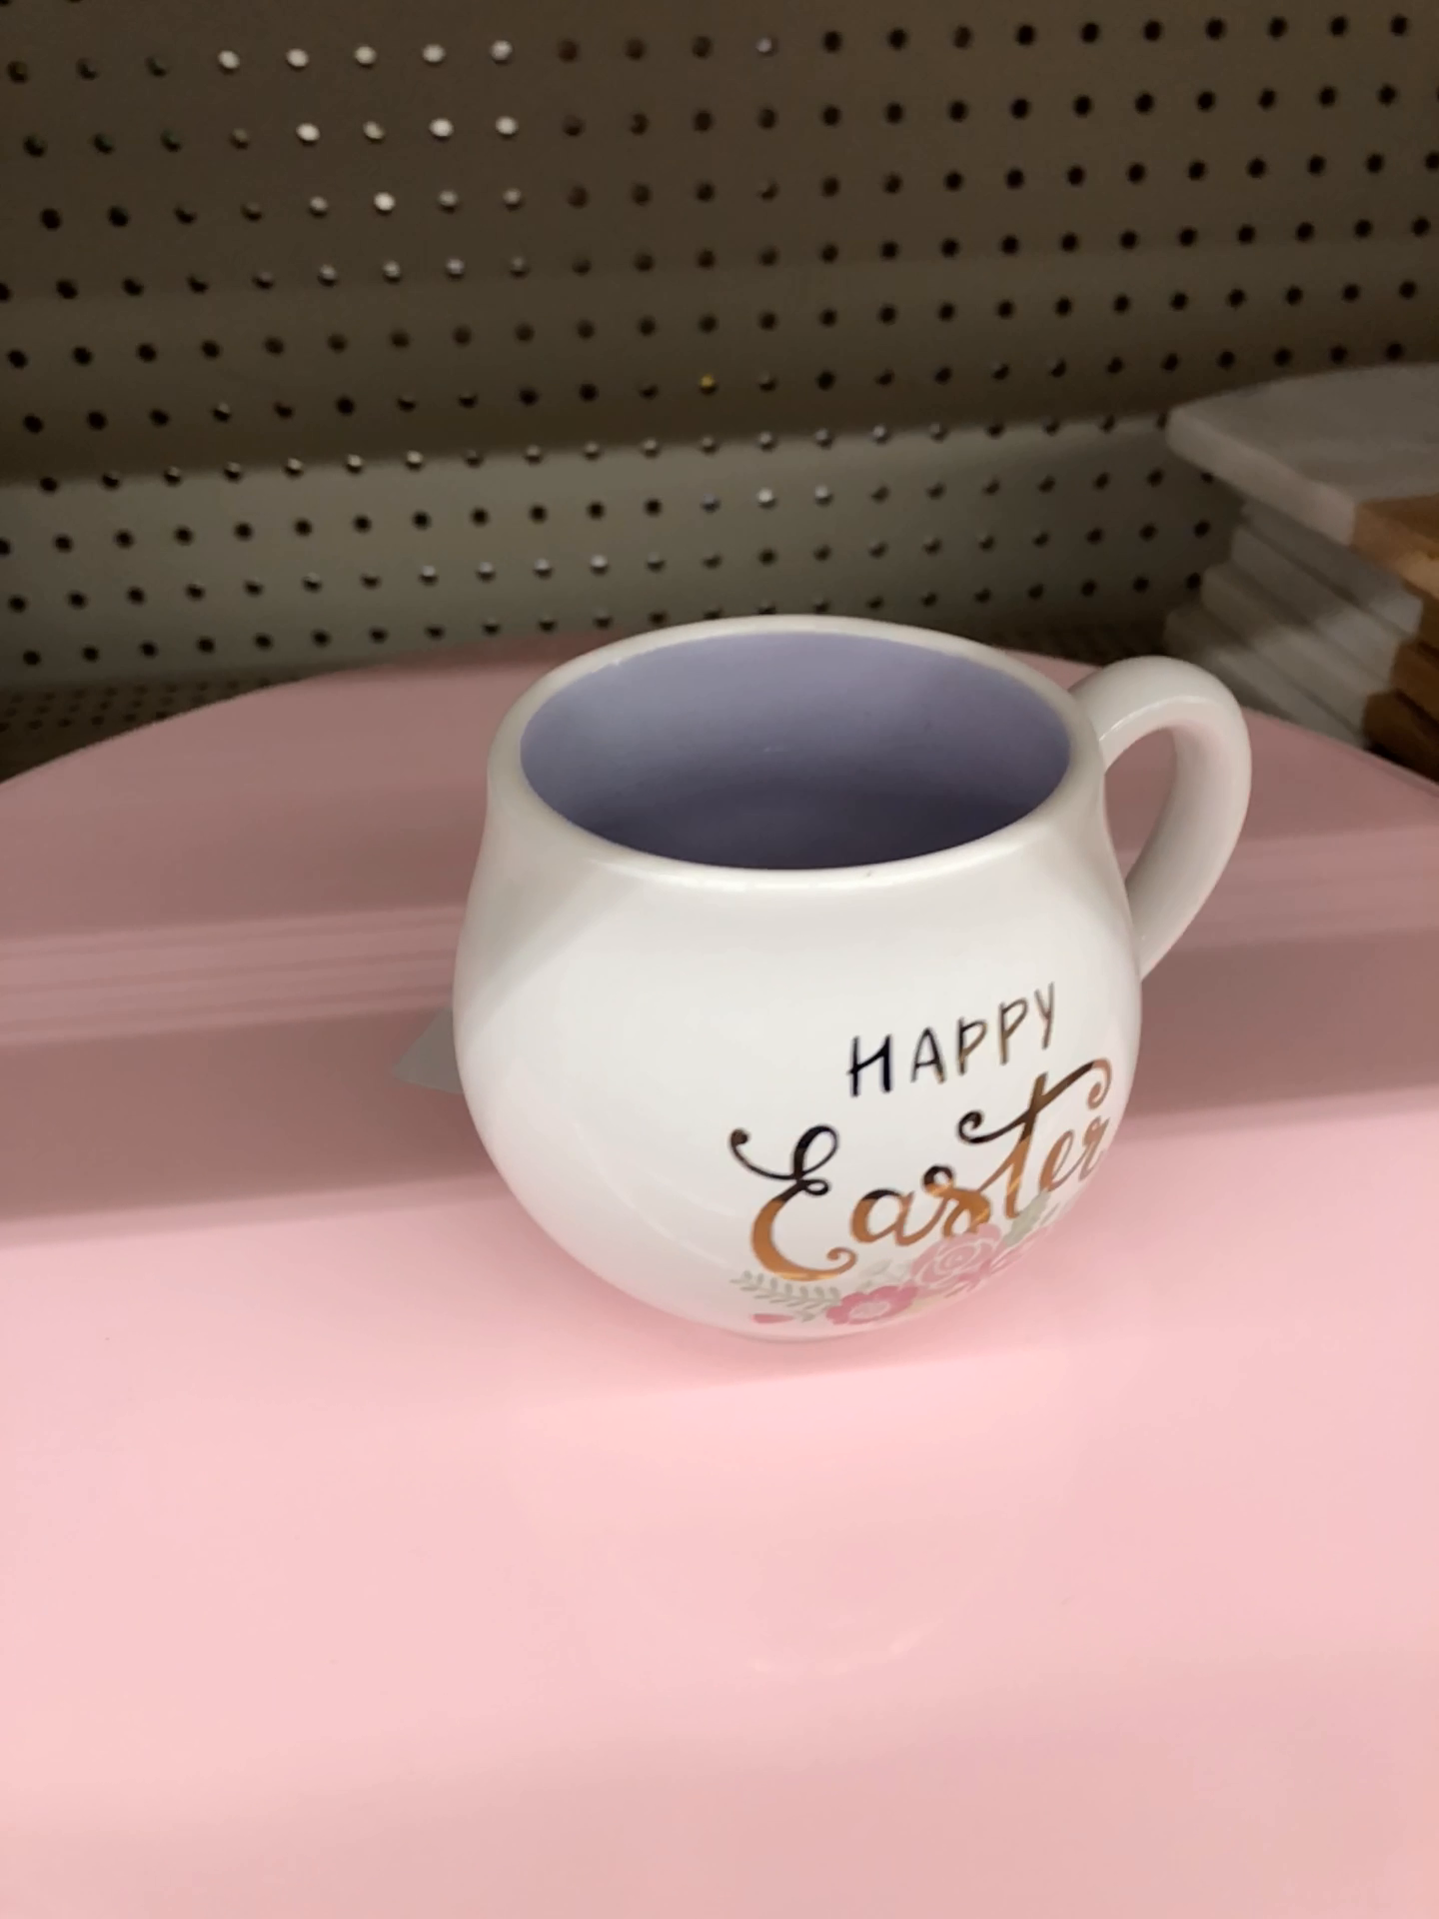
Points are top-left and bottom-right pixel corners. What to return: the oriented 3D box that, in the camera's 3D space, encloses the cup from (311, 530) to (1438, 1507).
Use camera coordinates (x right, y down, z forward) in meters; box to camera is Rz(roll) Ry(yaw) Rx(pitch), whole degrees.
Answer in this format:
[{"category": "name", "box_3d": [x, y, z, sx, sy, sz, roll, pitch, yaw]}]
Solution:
[{"category": "cup", "box_3d": [0.021, -0.002, 0.245, 0.130, 0.080, 0.090, -17, 37, -22]}]
